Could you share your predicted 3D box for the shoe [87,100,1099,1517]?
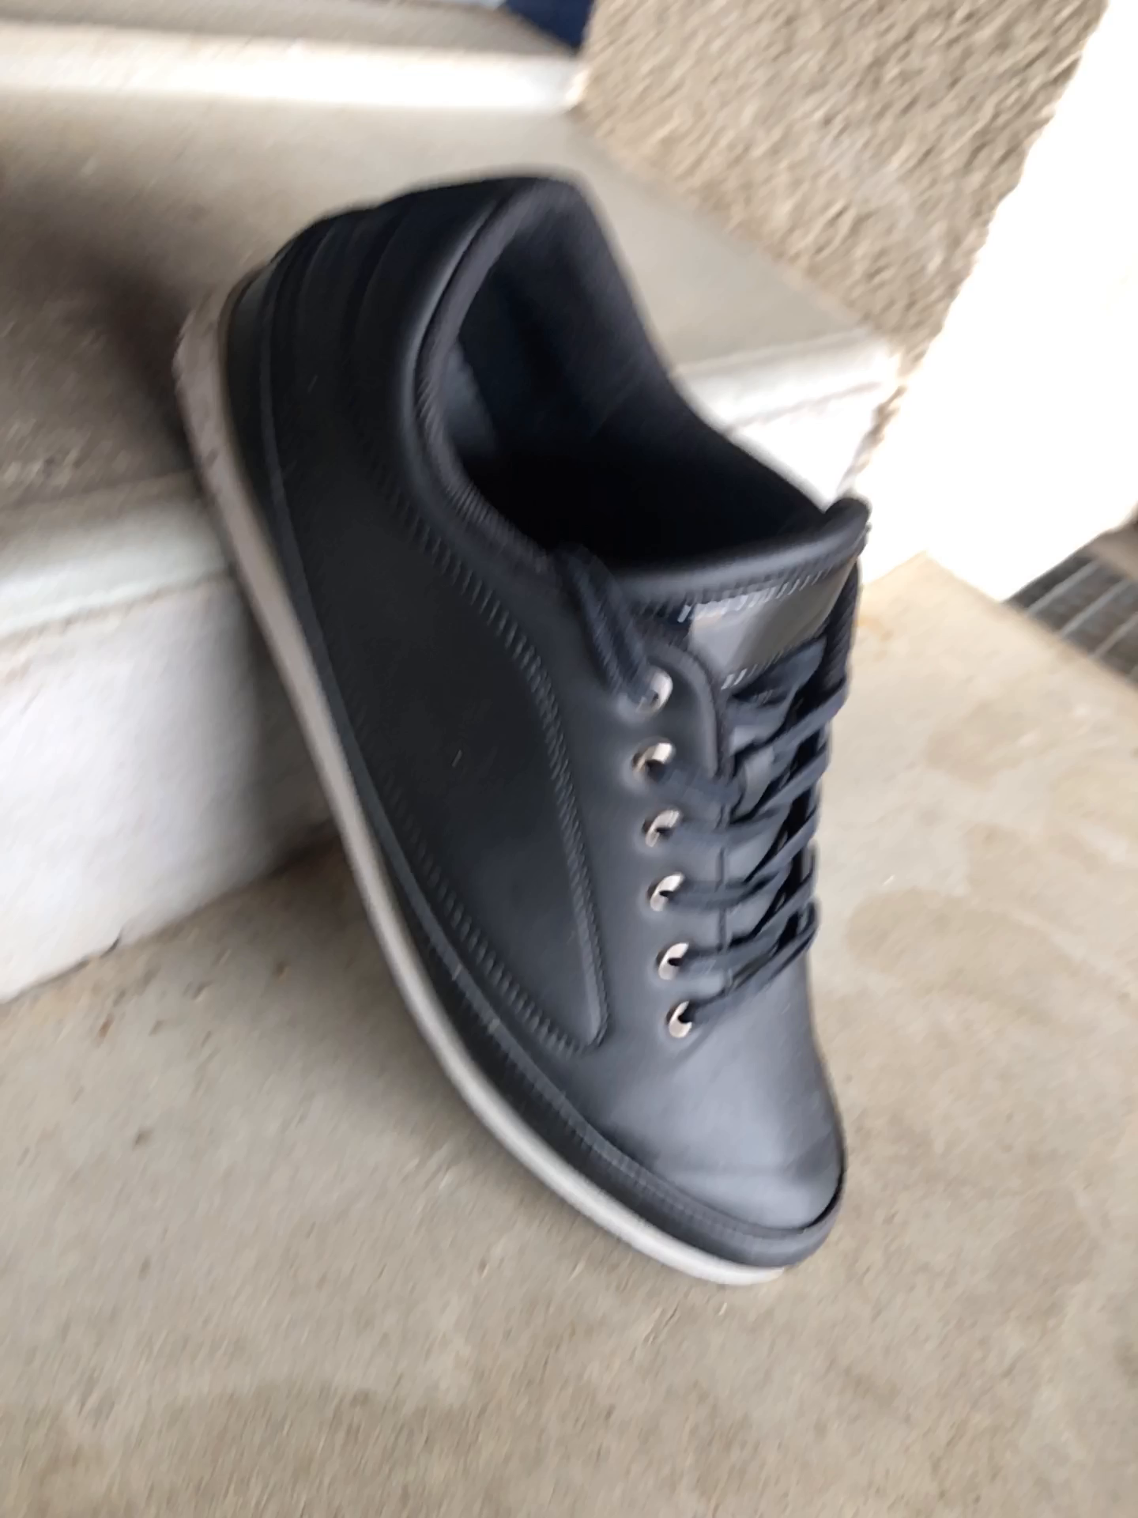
[{"bbox_3d":[0.021,0.006,0.312,0.131,0.089,0.290,-31,102,-47],"label":"shoe"}]
